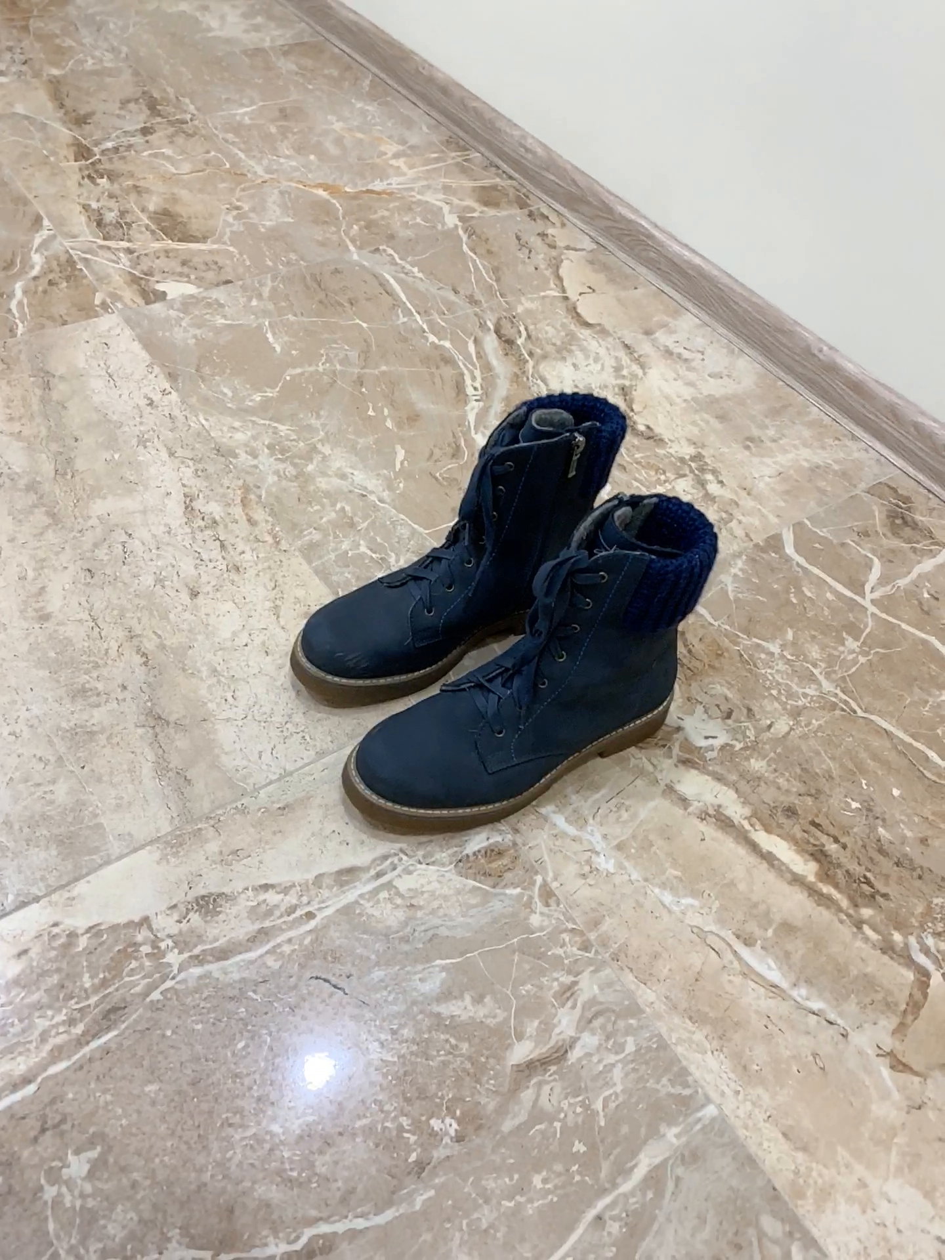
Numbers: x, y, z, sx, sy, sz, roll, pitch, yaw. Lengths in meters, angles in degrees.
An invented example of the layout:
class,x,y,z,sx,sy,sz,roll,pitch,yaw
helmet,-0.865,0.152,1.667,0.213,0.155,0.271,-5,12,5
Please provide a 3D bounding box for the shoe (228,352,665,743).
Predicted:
class,x,y,z,sx,sy,sz,roll,pitch,yaw
shoe,-0.021,-0.059,0.689,0.260,0.199,0.102,-19,55,-21

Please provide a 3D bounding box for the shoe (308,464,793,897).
class,x,y,z,sx,sy,sz,roll,pitch,yaw
shoe,0.040,0.033,0.620,0.260,0.199,0.102,-19,55,-21
